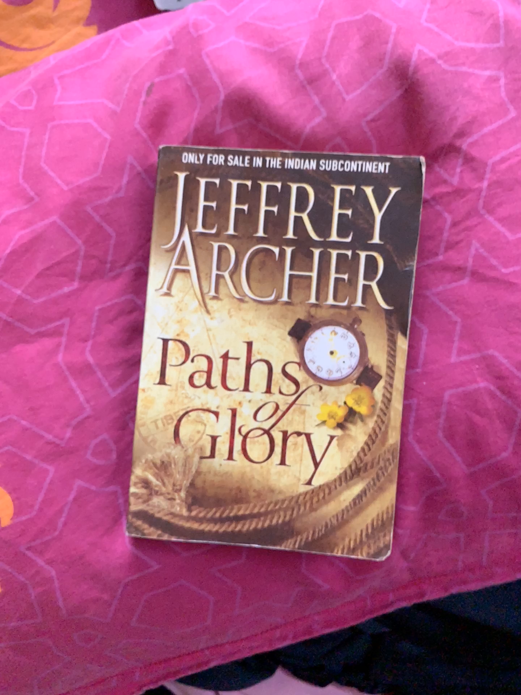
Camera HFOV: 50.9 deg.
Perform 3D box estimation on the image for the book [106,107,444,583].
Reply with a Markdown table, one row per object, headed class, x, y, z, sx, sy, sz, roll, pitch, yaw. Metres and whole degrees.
| class | x | y | z | sx | sy | sz | roll | pitch | yaw |
| --- | --- | --- | --- | --- | --- | --- | --- | --- | --- |
| book | 0.006 | -0.004 | 0.238 | 0.120 | 0.040 | 0.180 | 5 | 90 | 7 |
